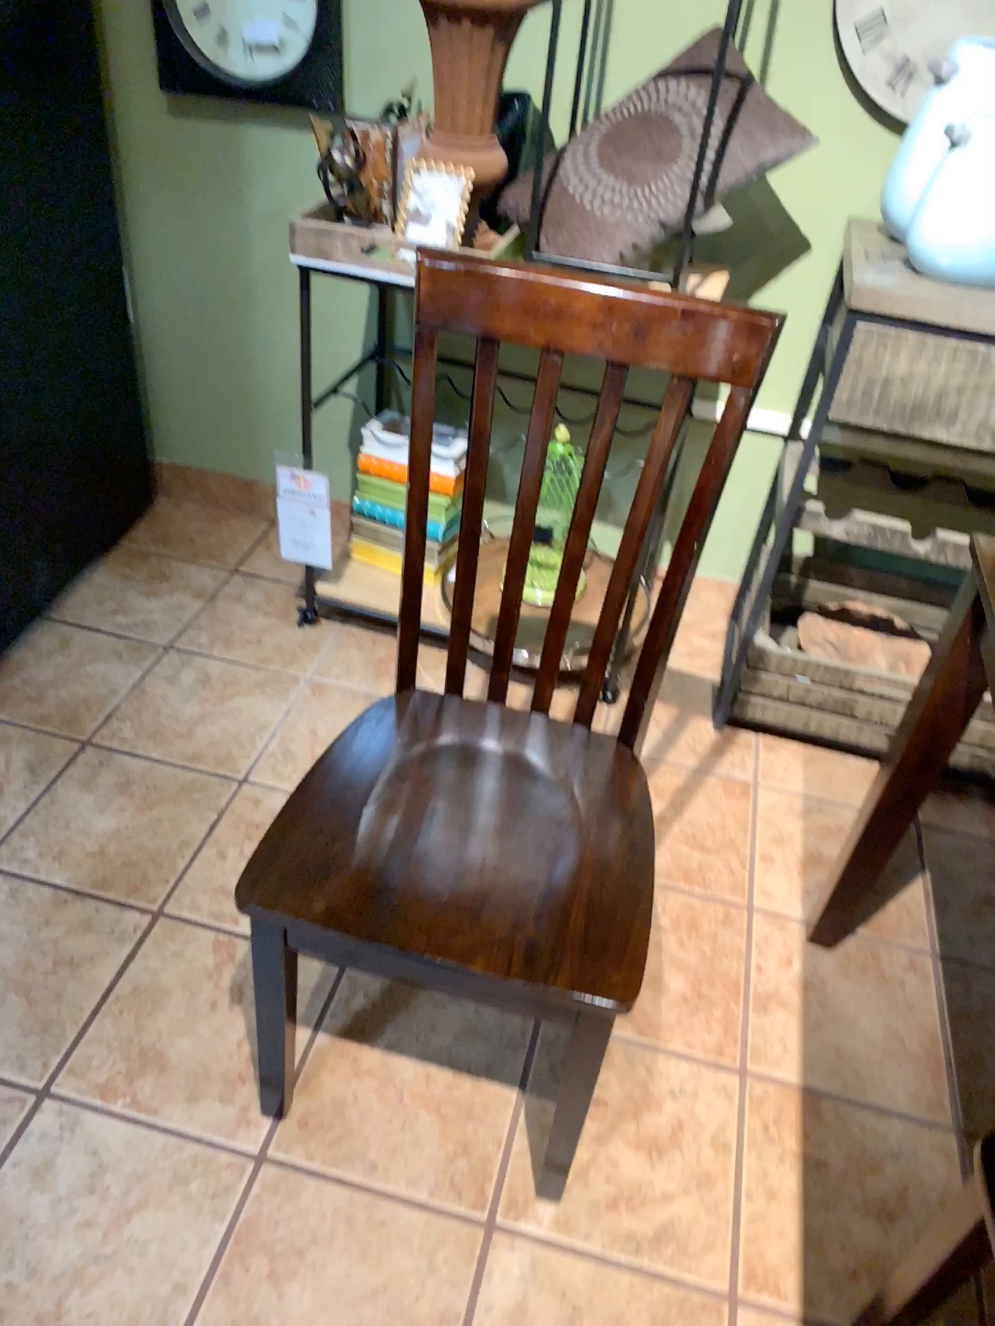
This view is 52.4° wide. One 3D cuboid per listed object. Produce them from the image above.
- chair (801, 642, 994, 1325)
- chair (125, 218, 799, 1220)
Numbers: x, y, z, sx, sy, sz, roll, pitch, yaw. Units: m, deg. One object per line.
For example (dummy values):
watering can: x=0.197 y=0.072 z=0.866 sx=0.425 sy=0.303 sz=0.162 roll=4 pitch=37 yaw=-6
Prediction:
chair: x=0.599 y=0.568 z=0.665 sx=0.461 sy=0.946 sz=0.577 roll=9 pitch=38 yaw=2
chair: x=-0.013 y=0.082 z=1.183 sx=0.461 sy=0.936 sz=0.587 roll=13 pitch=38 yaw=7
